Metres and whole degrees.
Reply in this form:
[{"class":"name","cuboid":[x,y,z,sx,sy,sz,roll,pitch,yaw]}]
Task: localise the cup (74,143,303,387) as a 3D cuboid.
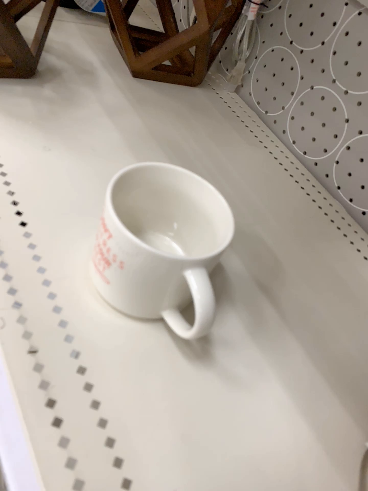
[{"class":"cup","cuboid":[-0.009,0.006,0.293,0.100,0.090,0.150,-12,57,-31]}]
